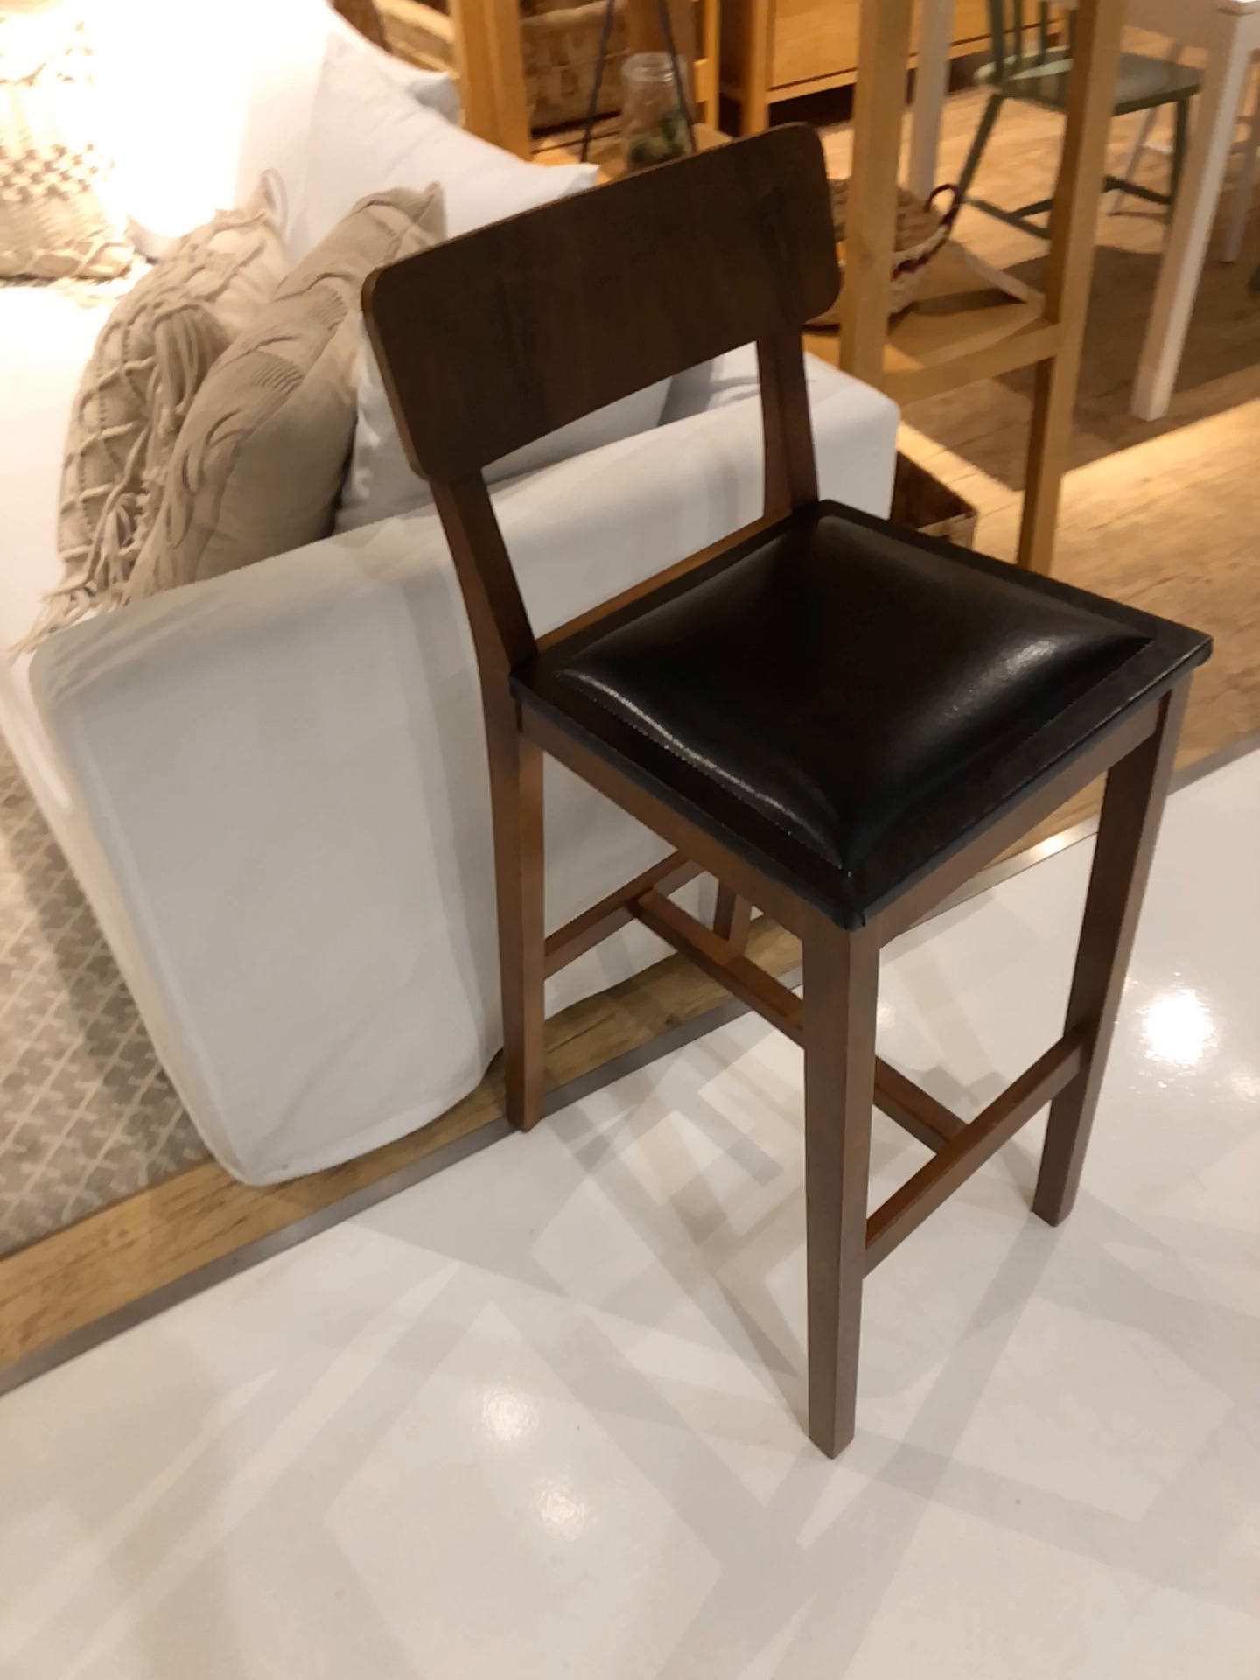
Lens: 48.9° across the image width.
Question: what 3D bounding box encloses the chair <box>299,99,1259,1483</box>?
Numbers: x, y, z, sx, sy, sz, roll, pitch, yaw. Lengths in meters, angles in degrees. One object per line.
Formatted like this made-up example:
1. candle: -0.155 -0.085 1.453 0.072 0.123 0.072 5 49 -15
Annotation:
1. chair: 0.144 0.005 1.210 0.442 1.002 0.532 -34 51 -28
